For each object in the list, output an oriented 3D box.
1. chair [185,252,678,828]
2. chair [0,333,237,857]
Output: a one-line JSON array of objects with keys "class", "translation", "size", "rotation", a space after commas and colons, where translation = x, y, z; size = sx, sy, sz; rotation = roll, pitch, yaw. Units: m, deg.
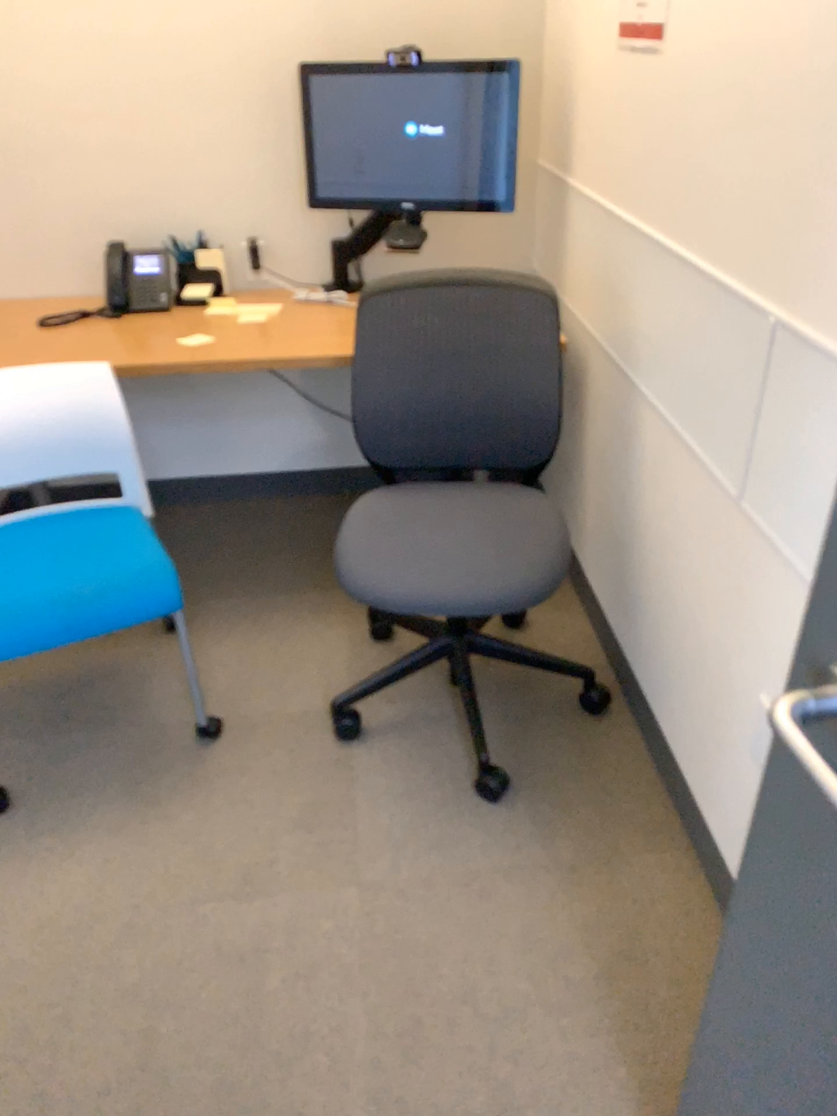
[{"class": "chair", "translation": [0.088, -0.118, 1.907], "size": [0.750, 0.884, 0.976], "rotation": [3, 33, 8]}, {"class": "chair", "translation": [-0.787, 0.011, 1.779], "size": [0.530, 0.686, 0.795], "rotation": [-14, 34, -19]}]
